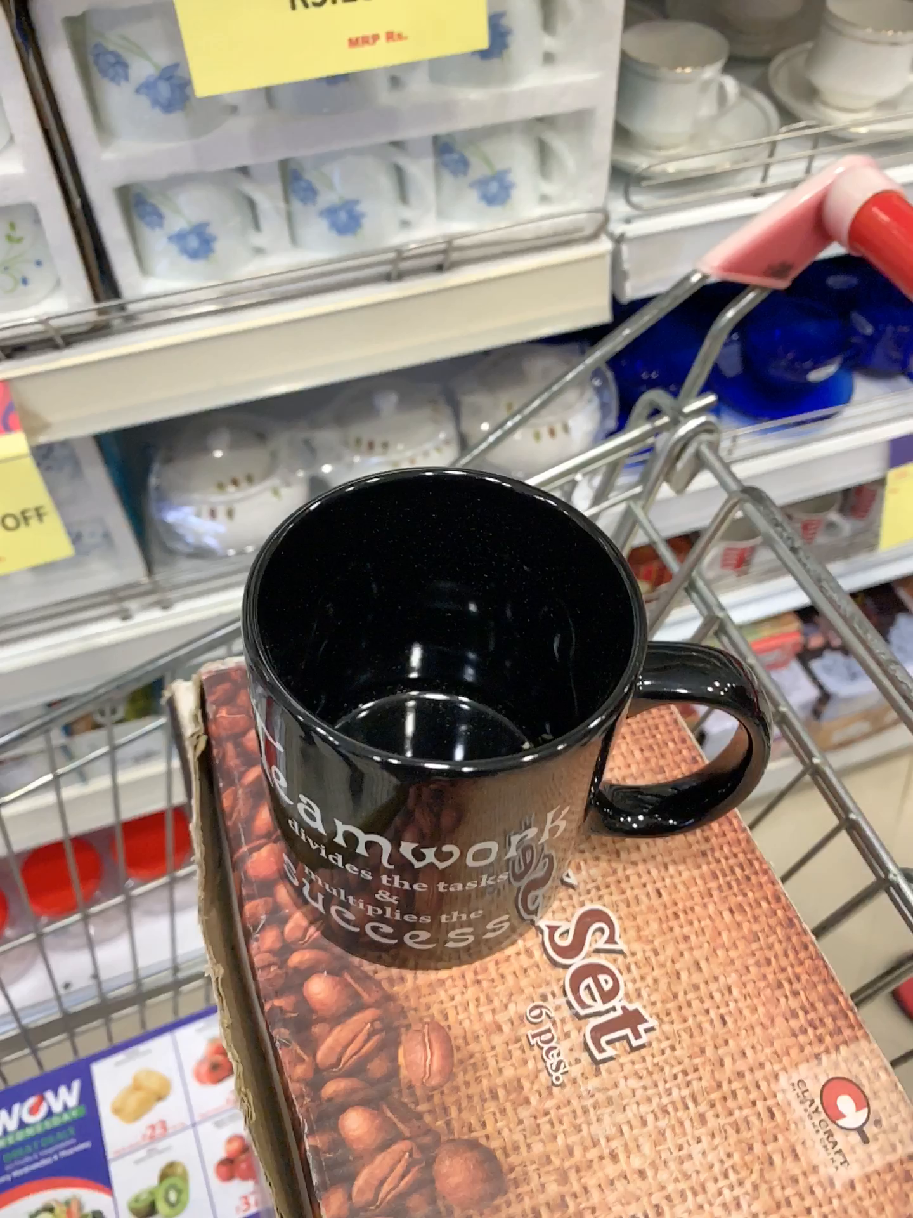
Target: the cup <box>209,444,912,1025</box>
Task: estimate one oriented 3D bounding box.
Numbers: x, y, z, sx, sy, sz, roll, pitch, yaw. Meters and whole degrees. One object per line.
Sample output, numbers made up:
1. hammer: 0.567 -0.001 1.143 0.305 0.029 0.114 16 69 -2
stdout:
1. cup: 0.017 0.035 0.223 0.120 0.100 0.080 9 53 -1
